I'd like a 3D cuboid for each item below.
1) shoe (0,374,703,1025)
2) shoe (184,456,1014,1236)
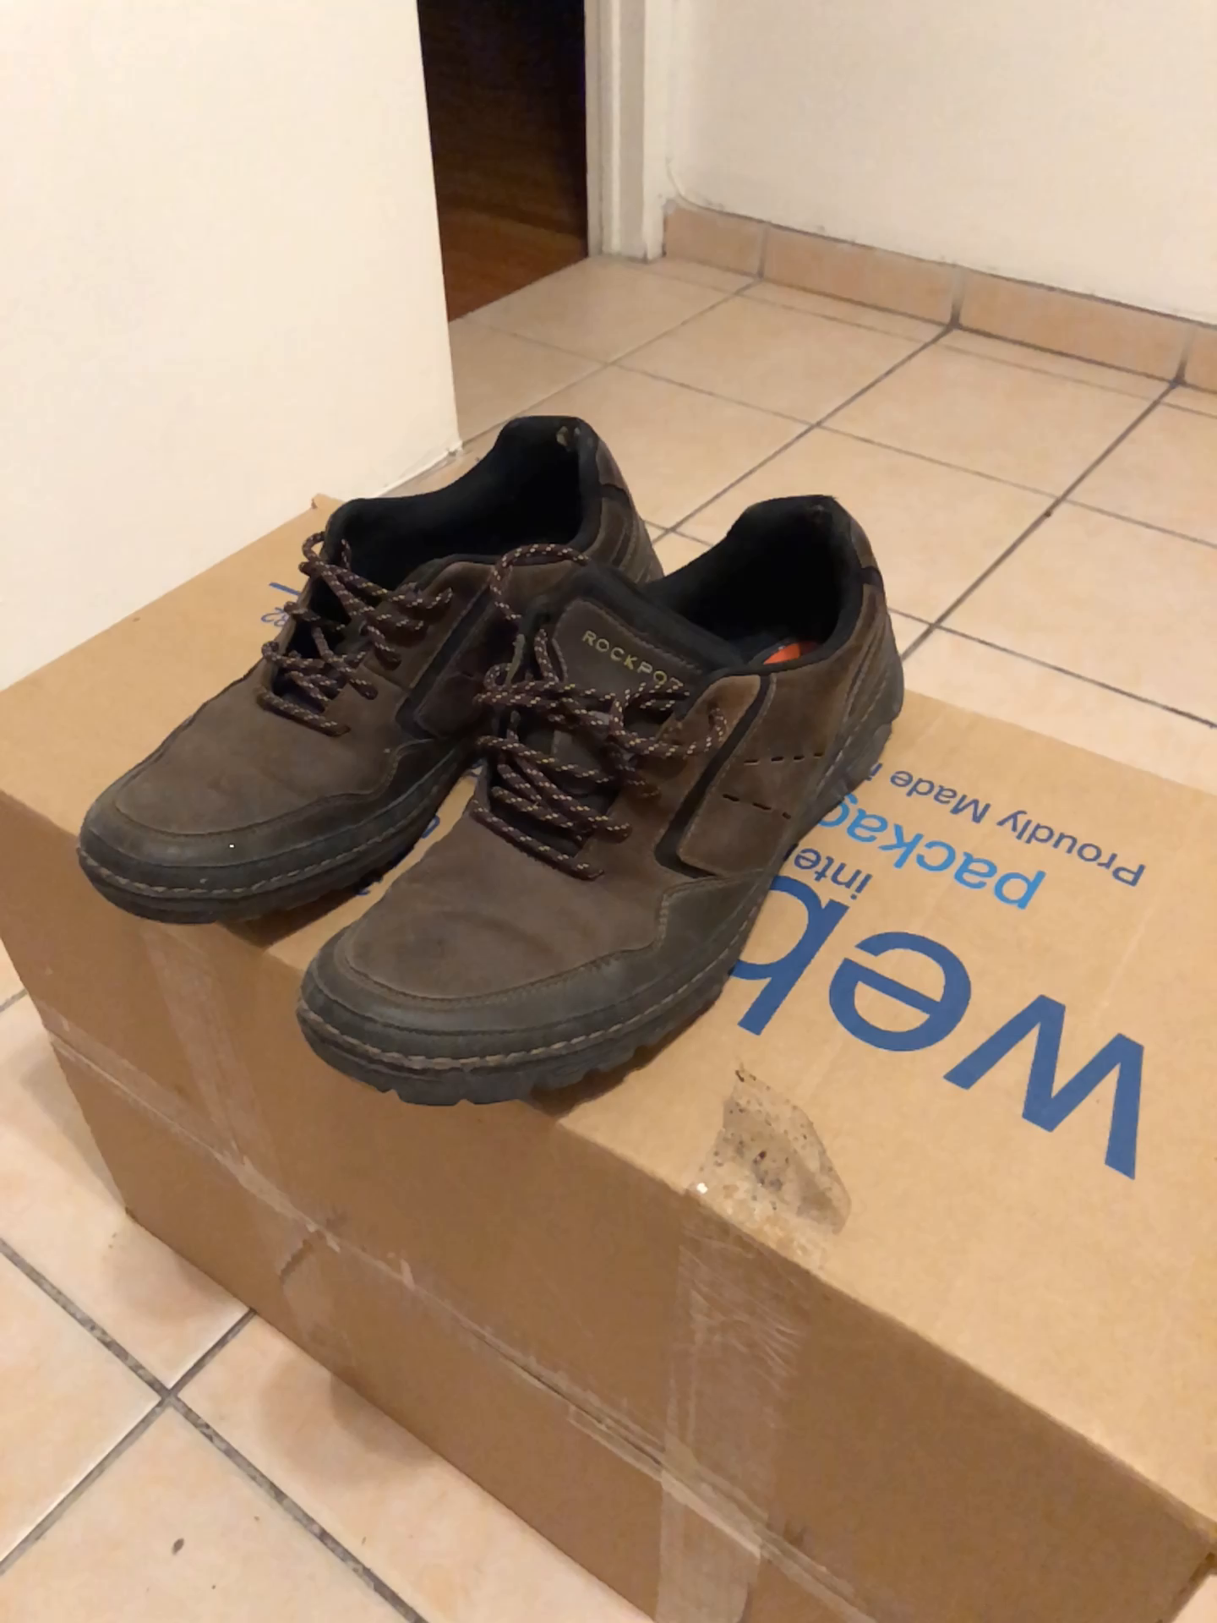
[{"bbox_3d":[-0.093,-0.062,0.535,0.111,0.109,0.281,29,50,30],"label":"shoe"},{"bbox_3d":[0.014,-0.010,0.478,0.111,0.109,0.291,29,49,30],"label":"shoe"}]
